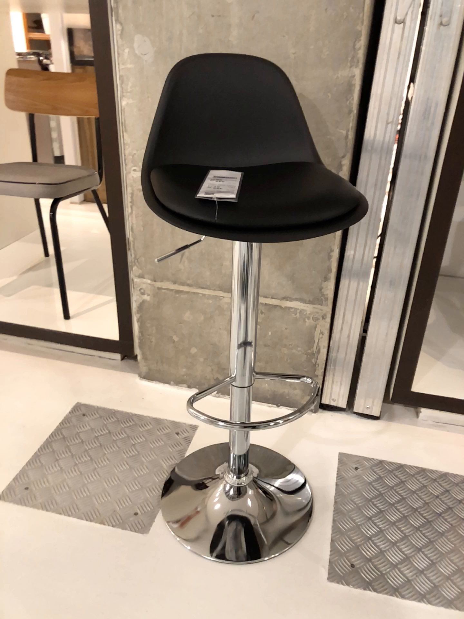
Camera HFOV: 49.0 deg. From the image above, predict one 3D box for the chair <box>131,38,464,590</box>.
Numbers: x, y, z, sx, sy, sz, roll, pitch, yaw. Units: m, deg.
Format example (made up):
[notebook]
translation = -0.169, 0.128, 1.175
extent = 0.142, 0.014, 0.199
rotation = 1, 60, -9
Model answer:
[chair]
translation = 0.046, 0.016, 1.064
extent = 0.430, 1.012, 0.473
rotation = -2, 28, -8
